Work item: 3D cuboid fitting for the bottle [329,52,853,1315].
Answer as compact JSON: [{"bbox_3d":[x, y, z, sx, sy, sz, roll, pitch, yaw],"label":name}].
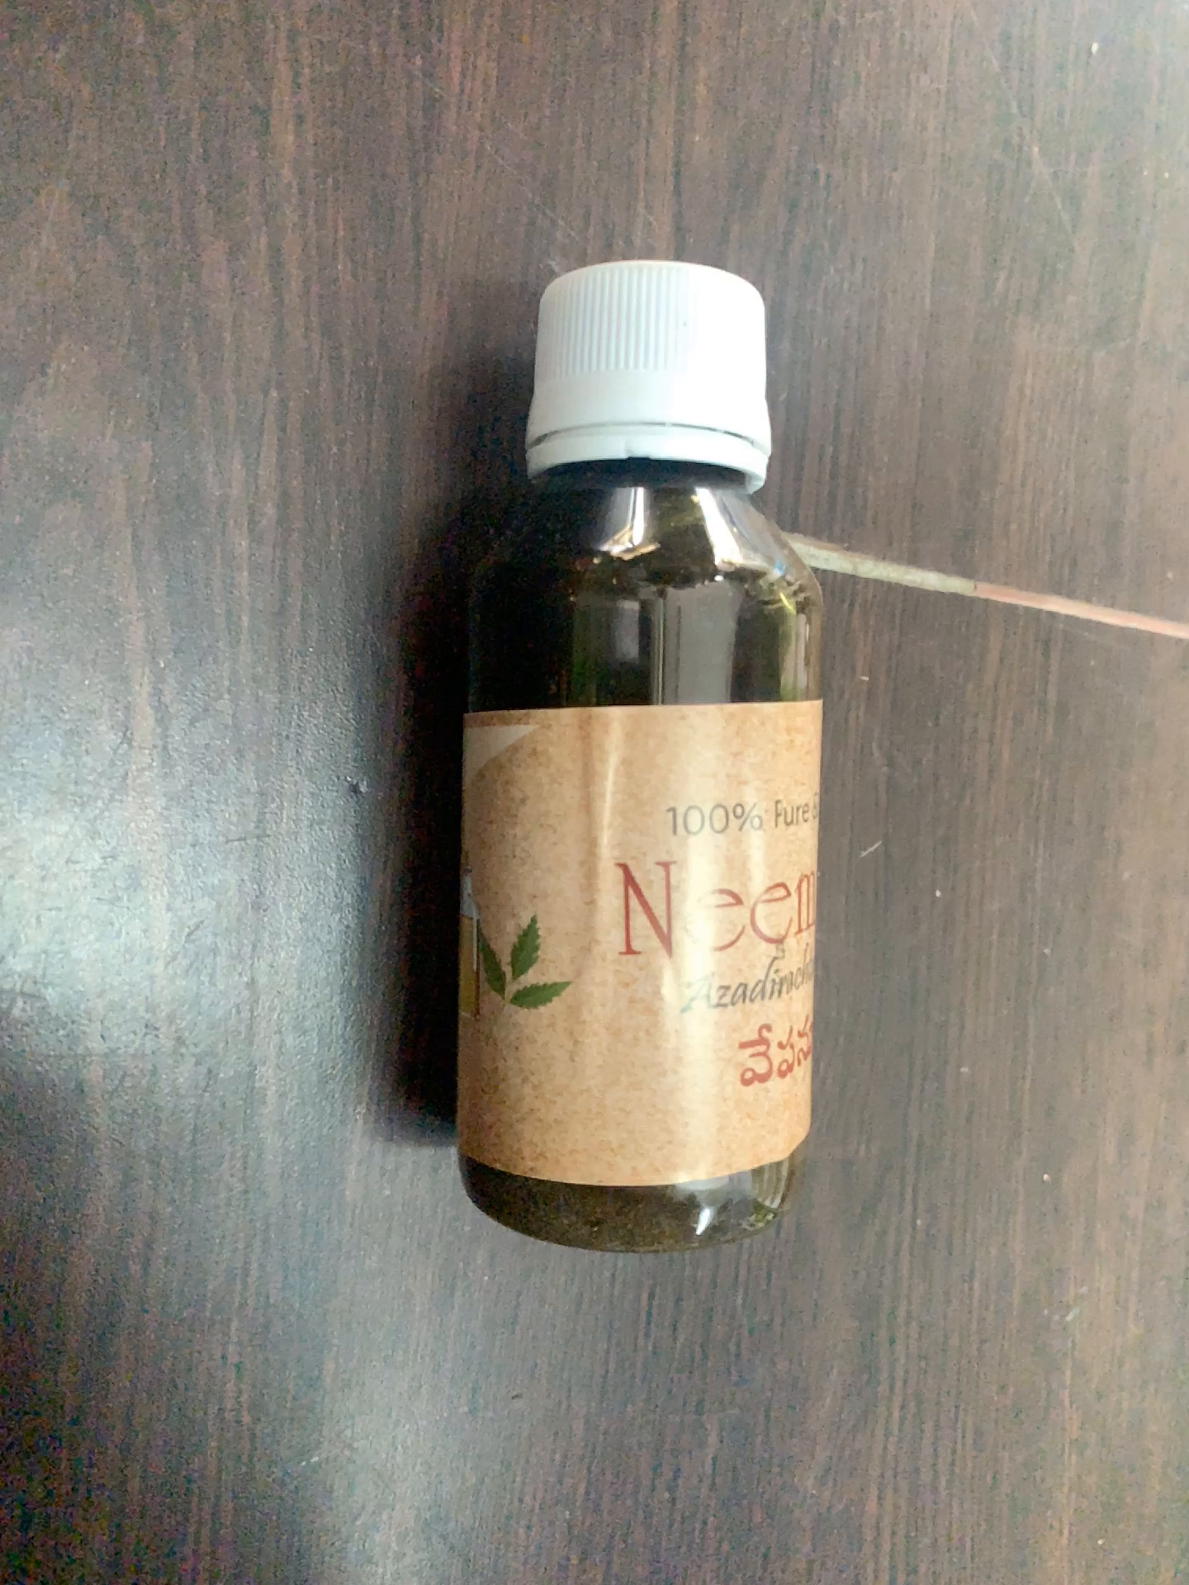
[{"bbox_3d":[0.002,-0.010,0.151,0.050,0.040,0.120,-6,96,-55],"label":"bottle"}]
